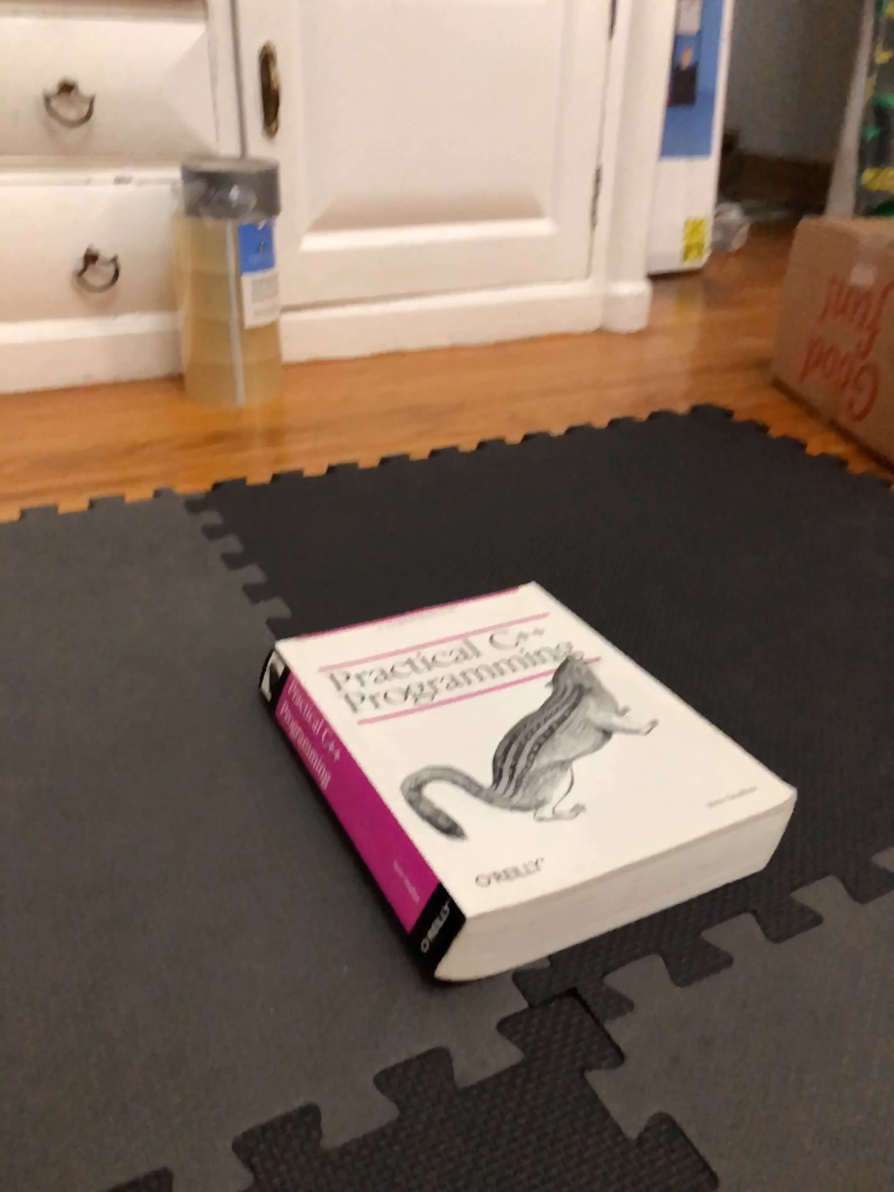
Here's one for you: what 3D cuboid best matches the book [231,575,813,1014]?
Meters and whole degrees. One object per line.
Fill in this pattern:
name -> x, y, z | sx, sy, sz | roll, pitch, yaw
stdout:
book -> 0.022, 0.075, 0.519 | 0.200, 0.050, 0.251 | -7, 30, -28
